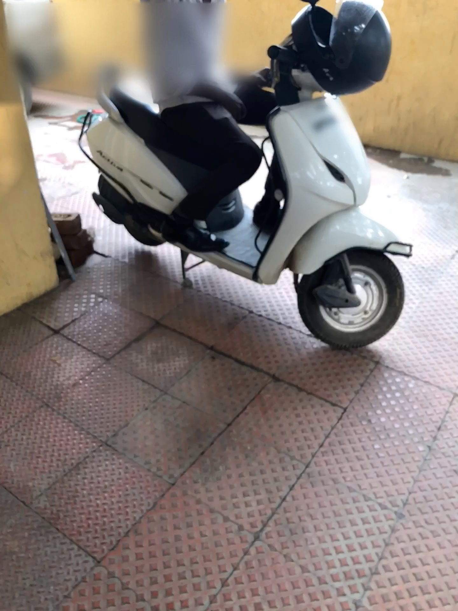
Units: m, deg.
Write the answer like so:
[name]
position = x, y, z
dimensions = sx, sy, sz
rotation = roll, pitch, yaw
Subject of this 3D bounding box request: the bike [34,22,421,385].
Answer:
[bike]
position = -0.045, -0.547, 2.282
dimensions = 1.389, 1.108, 0.661
rotation = 23, 39, 28
